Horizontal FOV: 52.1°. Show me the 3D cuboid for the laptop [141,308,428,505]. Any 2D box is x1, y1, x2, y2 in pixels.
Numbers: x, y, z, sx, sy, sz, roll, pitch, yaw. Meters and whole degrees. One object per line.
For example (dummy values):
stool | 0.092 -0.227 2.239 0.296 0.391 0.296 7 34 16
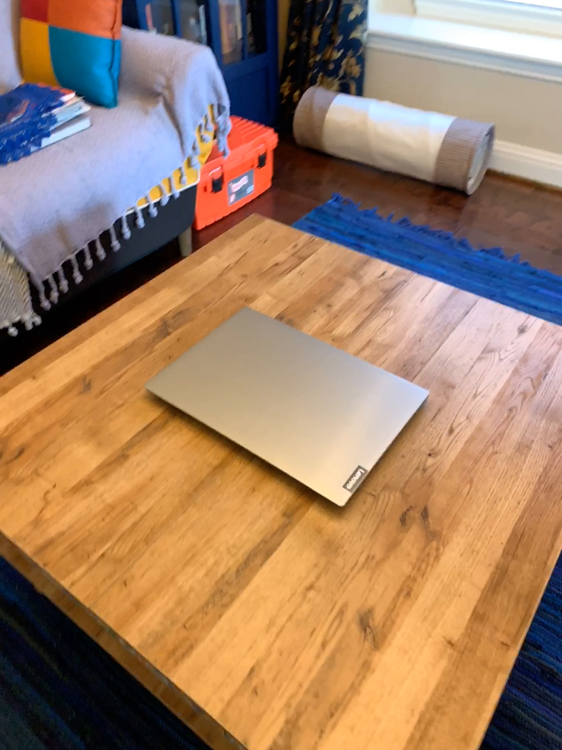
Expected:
laptop | 0.004 0.021 0.843 0.348 0.011 0.238 26 48 27
